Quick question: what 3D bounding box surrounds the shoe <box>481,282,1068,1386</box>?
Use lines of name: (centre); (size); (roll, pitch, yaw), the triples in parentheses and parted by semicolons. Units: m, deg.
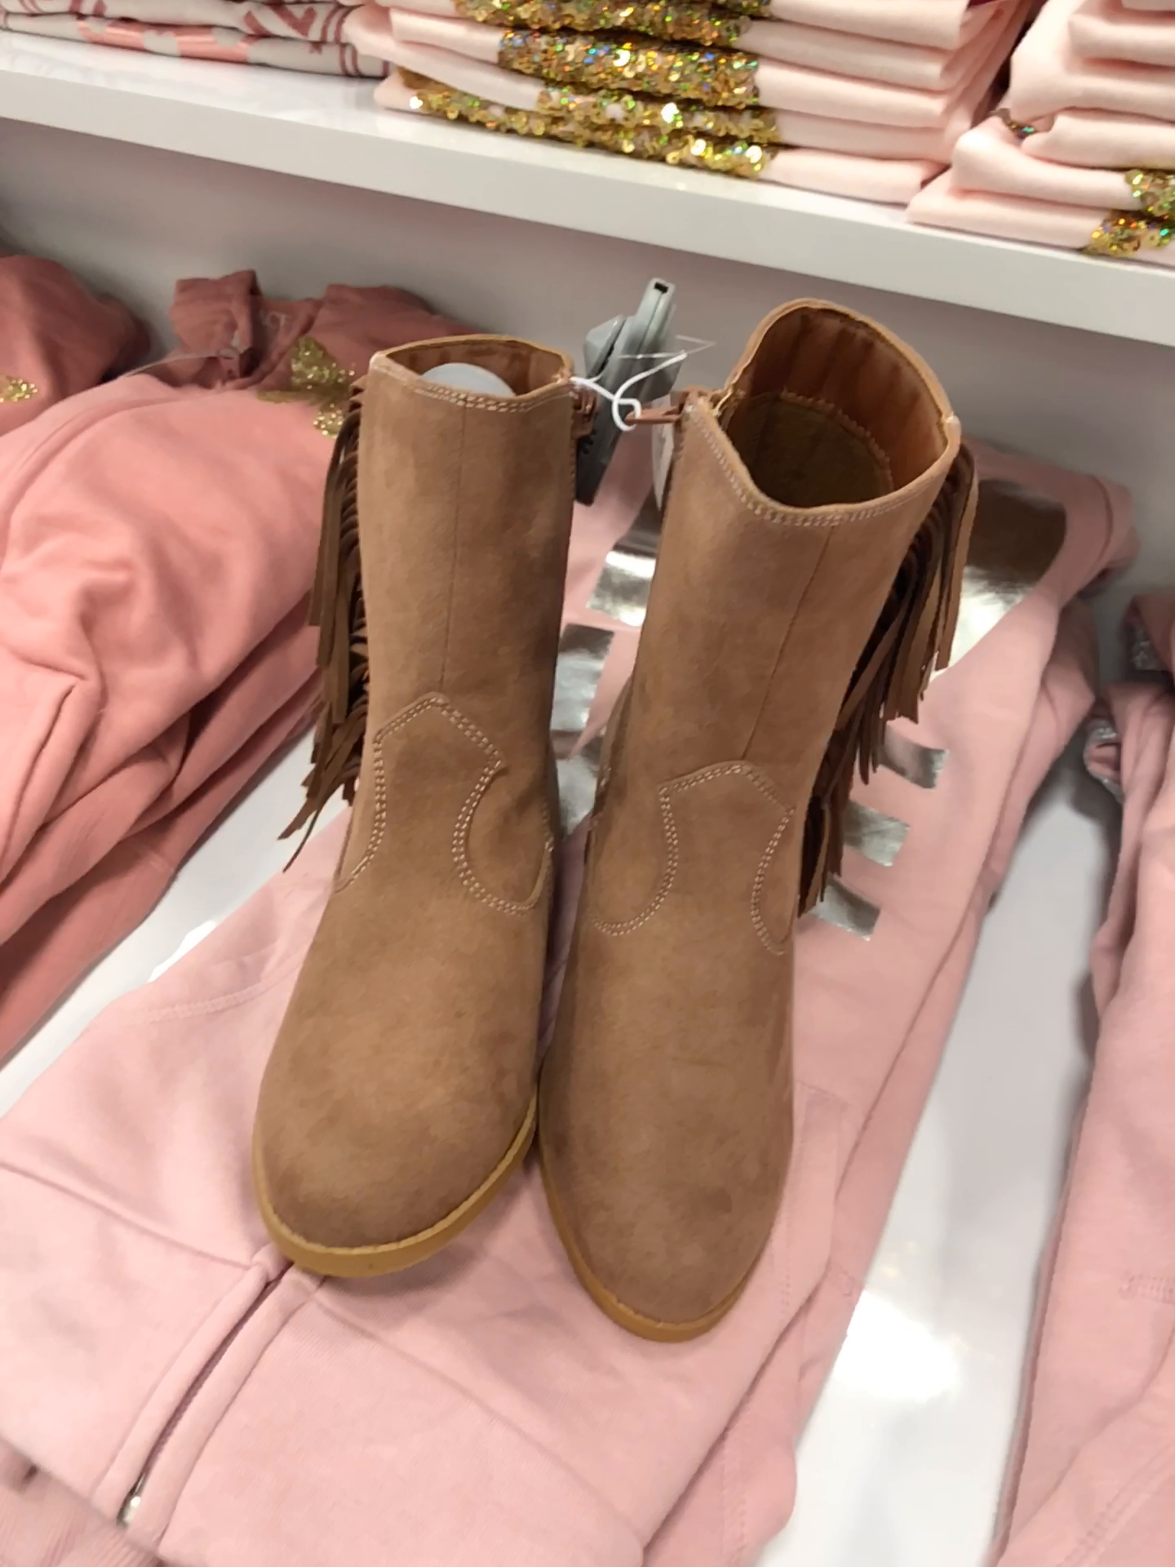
shoe: (0.036, 0.006, 0.351); (0.092, 0.199, 0.211); (4, 41, 3)

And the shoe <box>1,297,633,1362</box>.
shoe: (-0.045, 0.000, 0.352); (0.092, 0.199, 0.201); (4, 34, 3)
